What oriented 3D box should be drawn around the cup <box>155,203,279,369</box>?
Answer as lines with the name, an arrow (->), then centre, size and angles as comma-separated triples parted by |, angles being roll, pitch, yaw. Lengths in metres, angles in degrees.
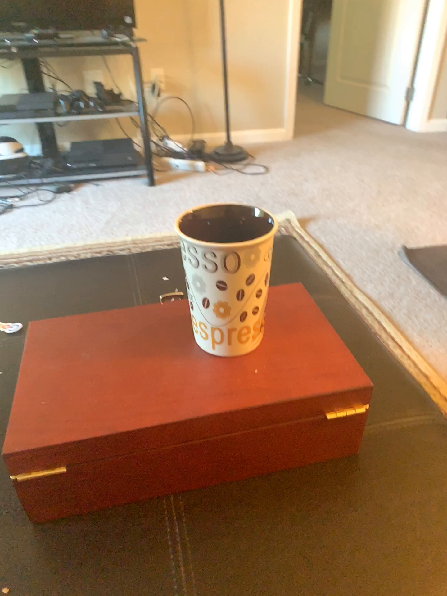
cup -> 0.000, -0.014, 0.418 | 0.090, 0.109, 0.101 | 4, 34, 7
